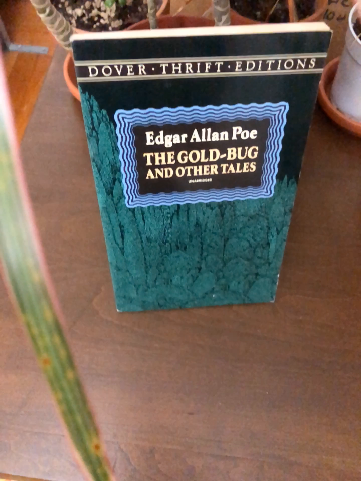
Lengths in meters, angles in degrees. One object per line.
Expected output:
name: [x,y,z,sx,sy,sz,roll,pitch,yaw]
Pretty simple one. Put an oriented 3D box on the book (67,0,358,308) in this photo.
book: [0.017,-0.037,0.267,0.140,0.209,0.020,-4,40,-4]
